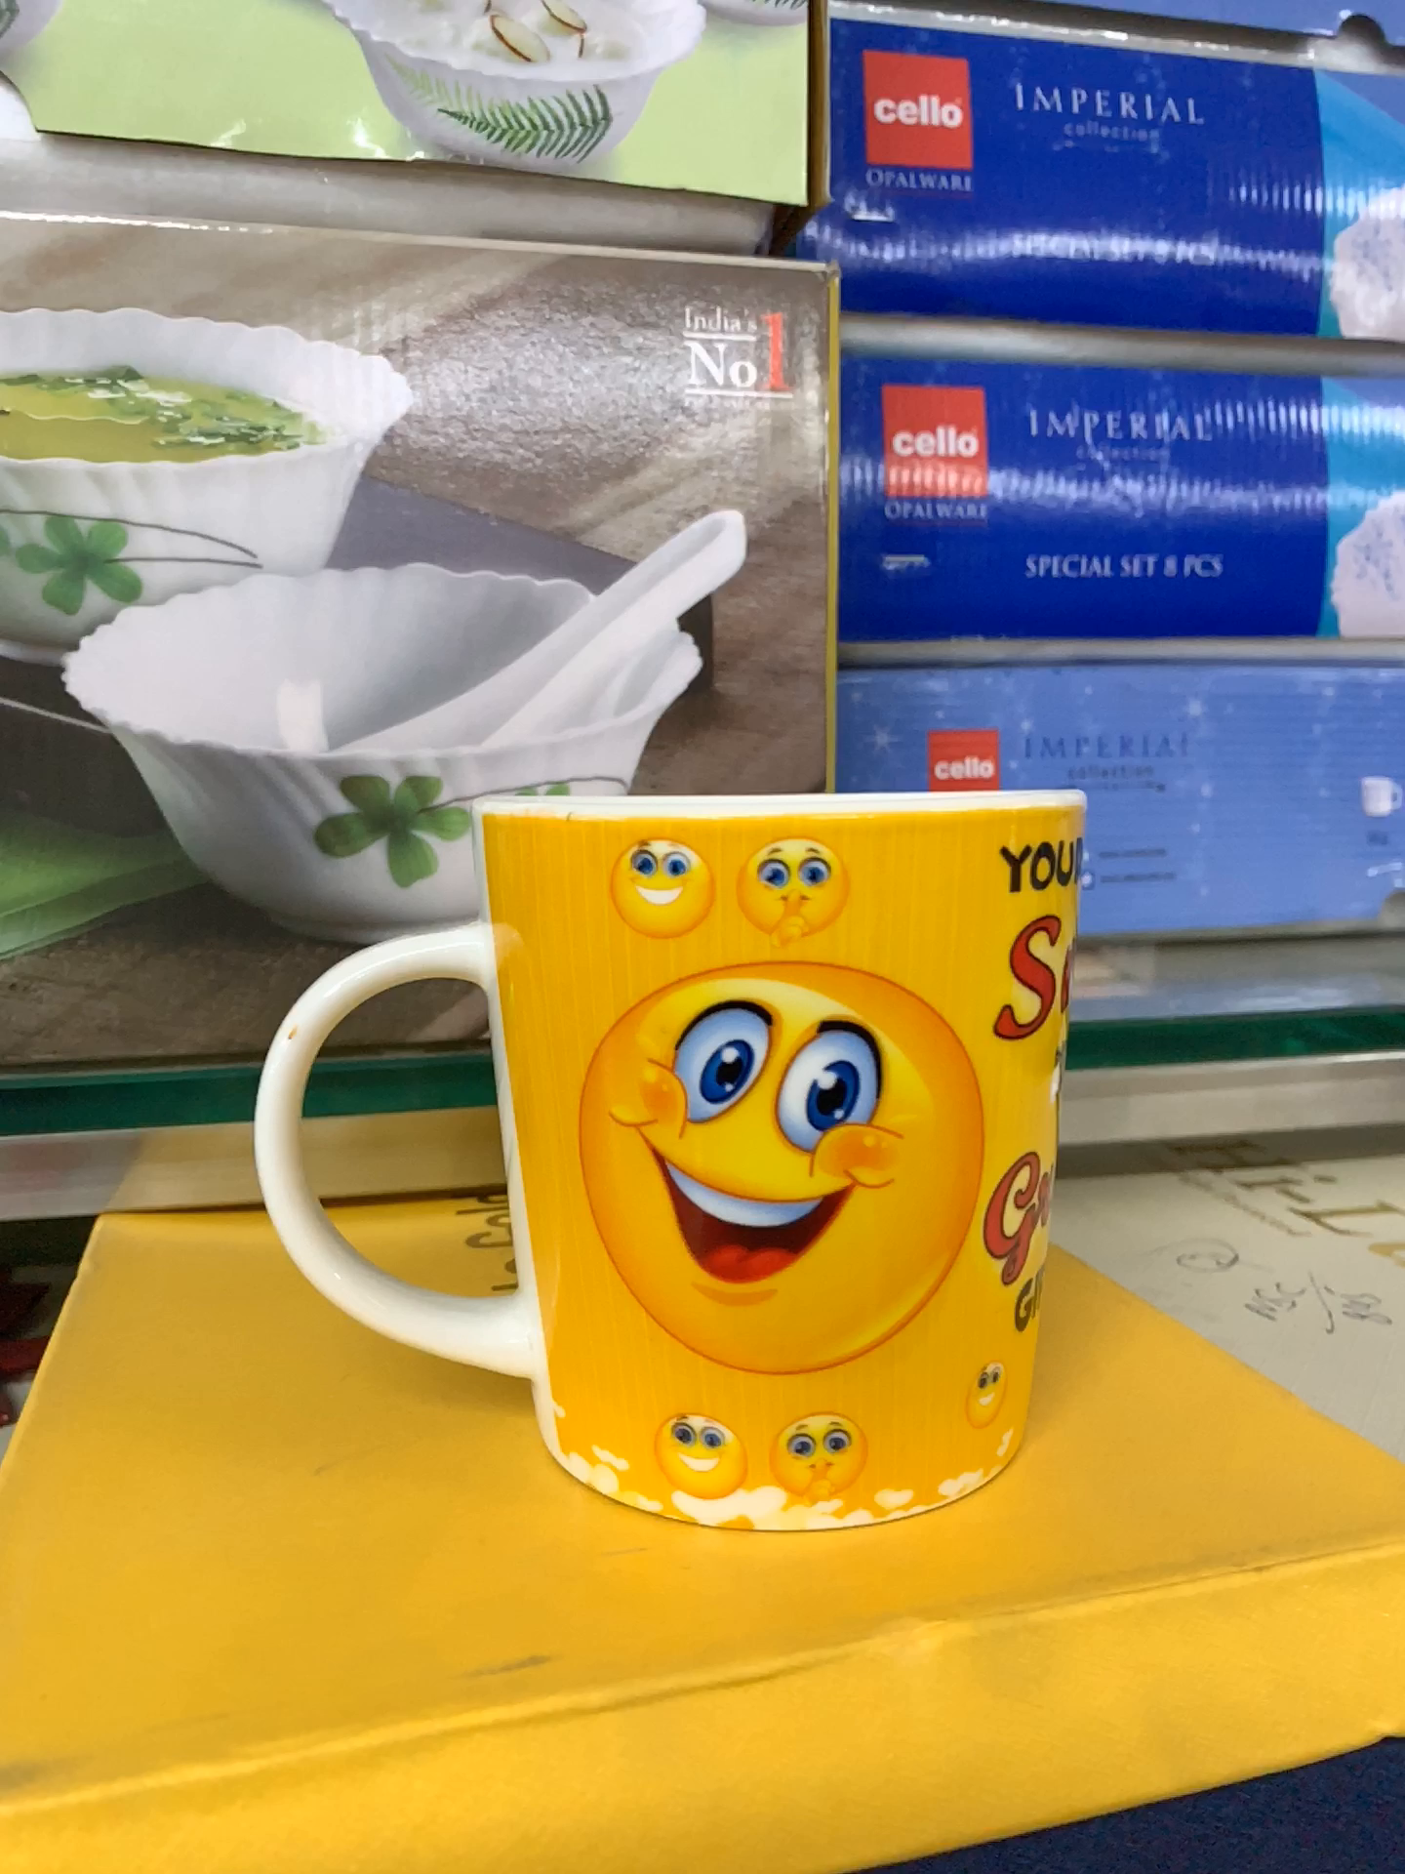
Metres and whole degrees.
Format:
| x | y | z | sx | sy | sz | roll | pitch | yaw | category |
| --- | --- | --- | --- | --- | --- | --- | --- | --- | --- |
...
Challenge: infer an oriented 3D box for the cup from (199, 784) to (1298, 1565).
| x | y | z | sx | sy | sz | roll | pitch | yaw | category |
| --- | --- | --- | --- | --- | --- | --- | --- | --- | --- |
| 0.003 | 0.022 | 0.197 | 0.118 | 0.081 | 0.072 | -1 | 8 | -7 | cup |
